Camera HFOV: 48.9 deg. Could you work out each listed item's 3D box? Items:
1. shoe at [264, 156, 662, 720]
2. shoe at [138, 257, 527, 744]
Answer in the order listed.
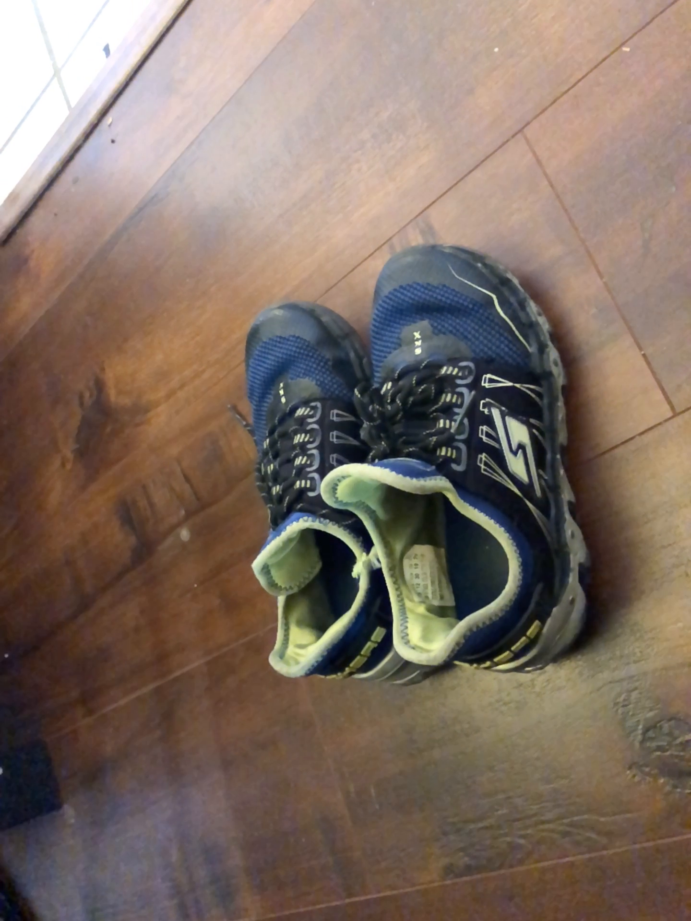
[{"bbox_3d":[0.055,-0.003,0.353,0.100,0.119,0.210,-16,80,38],"label":"shoe"},{"bbox_3d":[-0.009,0.020,0.408,0.100,0.119,0.210,-28,73,35],"label":"shoe"}]
